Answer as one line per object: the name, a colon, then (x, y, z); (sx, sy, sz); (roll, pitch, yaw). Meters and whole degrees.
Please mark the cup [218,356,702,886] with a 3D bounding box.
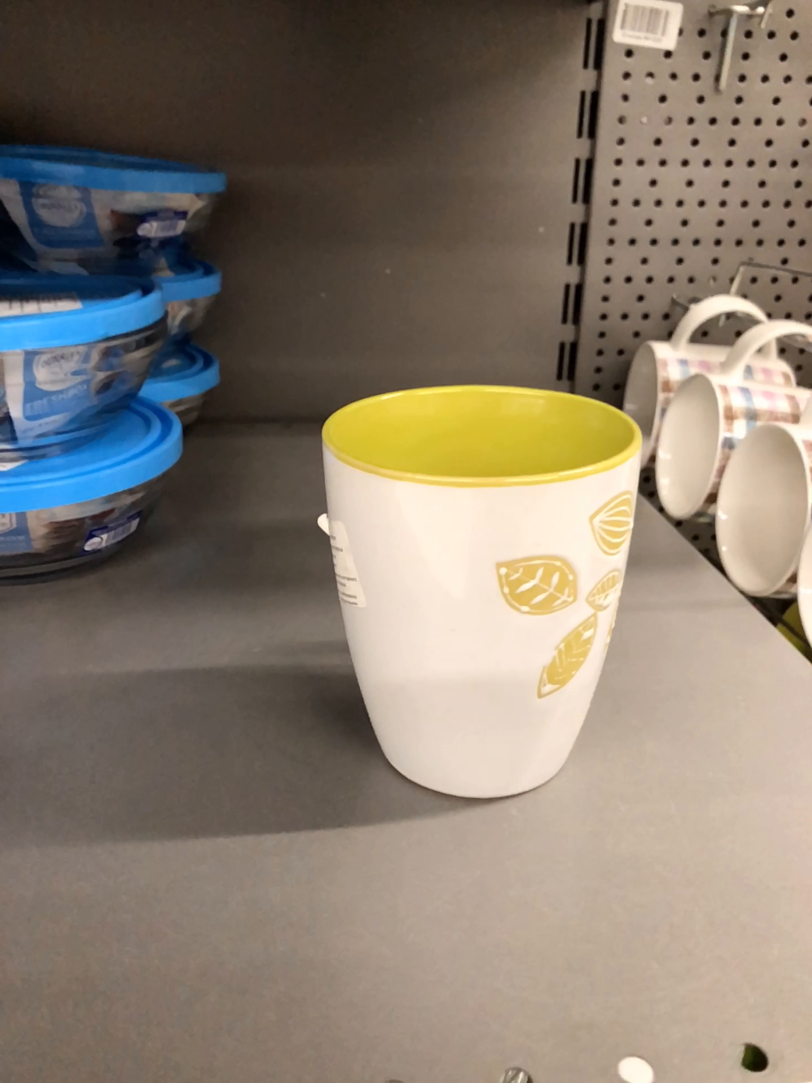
cup: (0.024, 0.009, 0.272); (0.094, 0.095, 0.126); (12, 26, 24)
